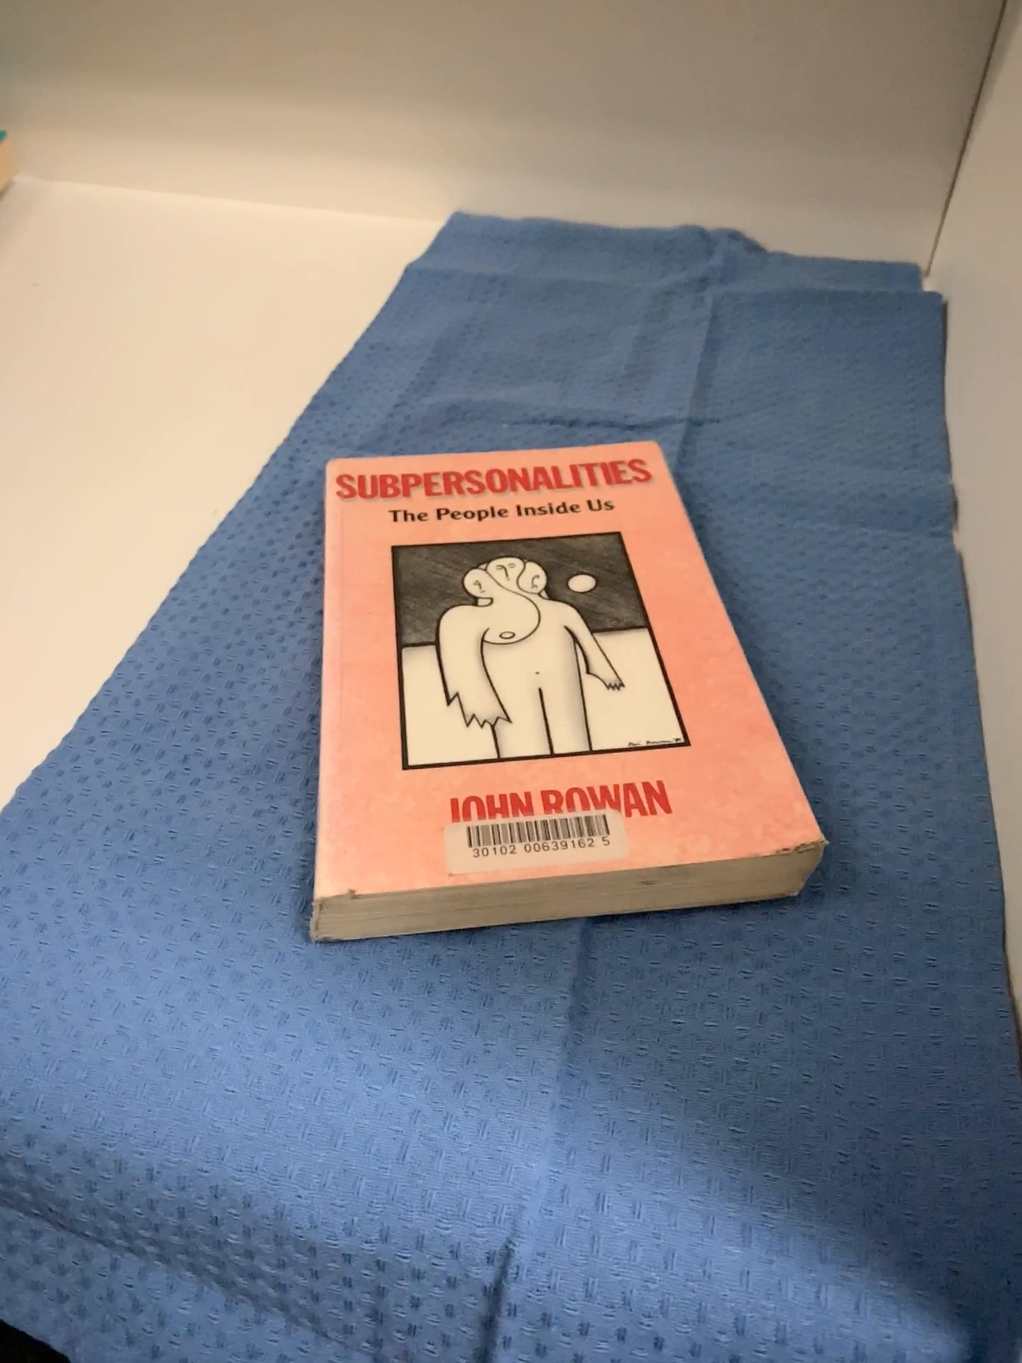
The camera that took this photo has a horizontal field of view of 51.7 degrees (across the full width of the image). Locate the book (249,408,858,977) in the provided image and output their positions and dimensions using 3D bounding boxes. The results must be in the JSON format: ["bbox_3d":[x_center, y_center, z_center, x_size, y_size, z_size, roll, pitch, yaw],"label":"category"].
[{"bbox_3d":[-0.002,-0.018,0.371,0.160,0.040,0.232,-5,43,-6],"label":"book"}]
